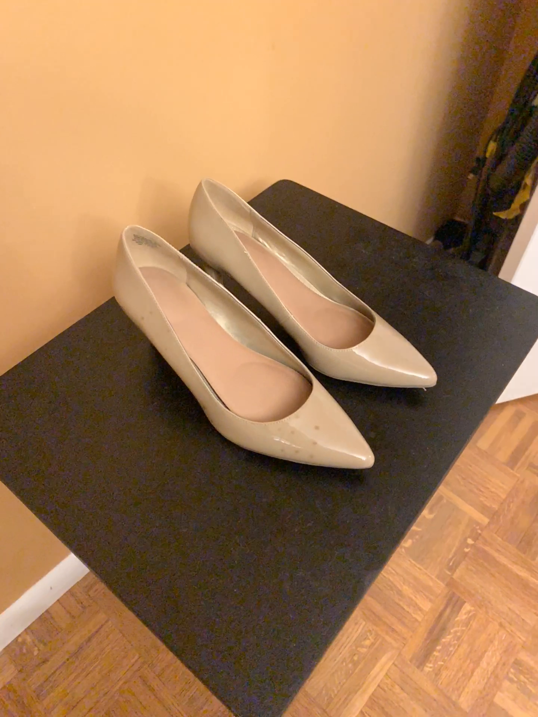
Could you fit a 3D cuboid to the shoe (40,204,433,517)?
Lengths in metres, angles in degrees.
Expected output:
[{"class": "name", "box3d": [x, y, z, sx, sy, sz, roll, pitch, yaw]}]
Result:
[{"class": "shoe", "box3d": [-0.036, -0.012, 0.453, 0.300, 0.090, 0.100, 29, 56, 22]}]

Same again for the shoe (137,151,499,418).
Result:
[{"class": "shoe", "box3d": [0.031, -0.079, 0.503, 0.300, 0.090, 0.100, 29, 56, 22]}]
